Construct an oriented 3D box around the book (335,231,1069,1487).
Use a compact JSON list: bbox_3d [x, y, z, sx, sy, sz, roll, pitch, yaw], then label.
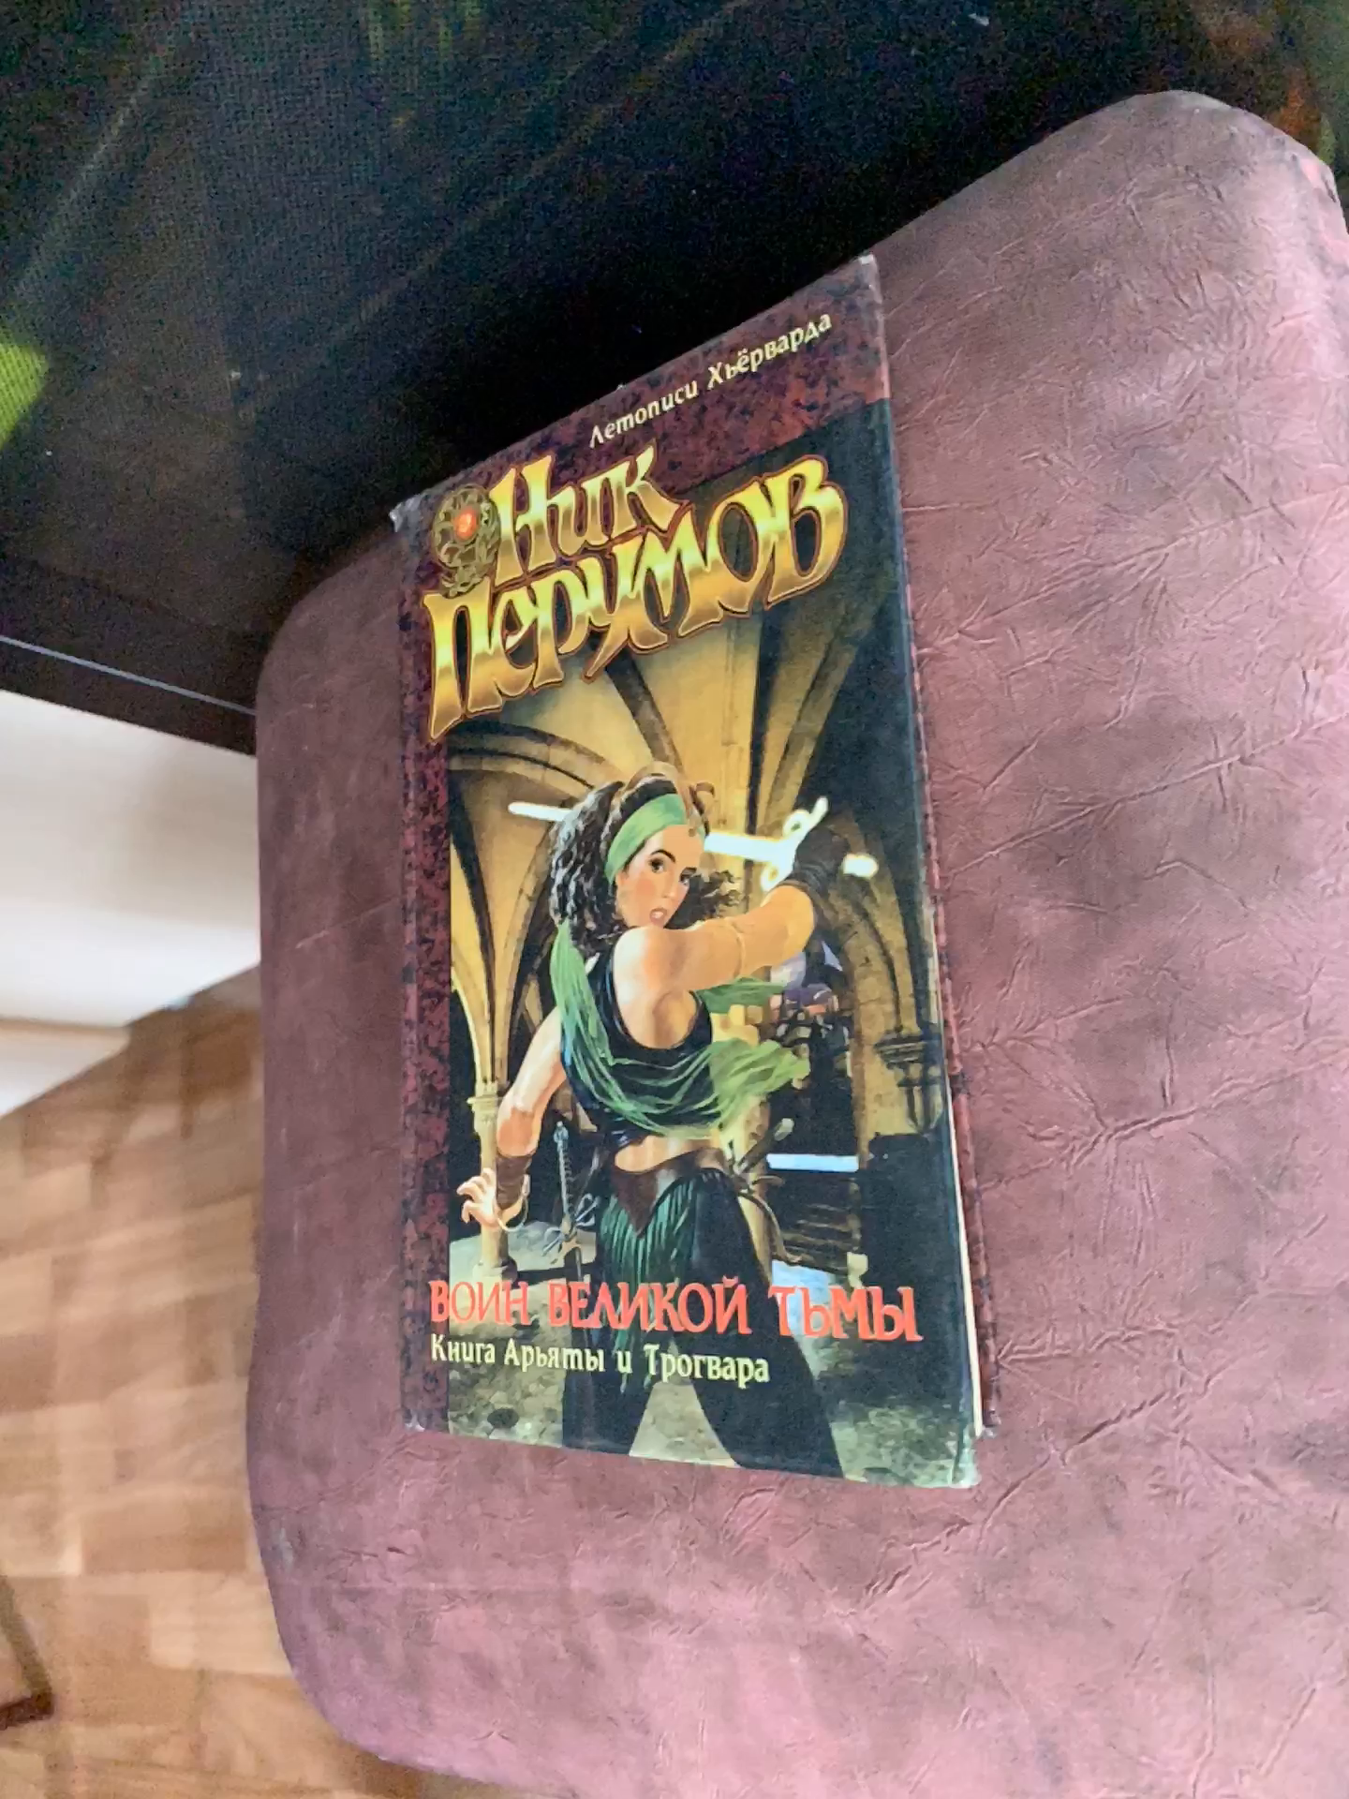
[{"bbox_3d":[-0.007,-0.002,0.277,0.140,0.037,0.205,-13,74,37],"label":"book"}]
